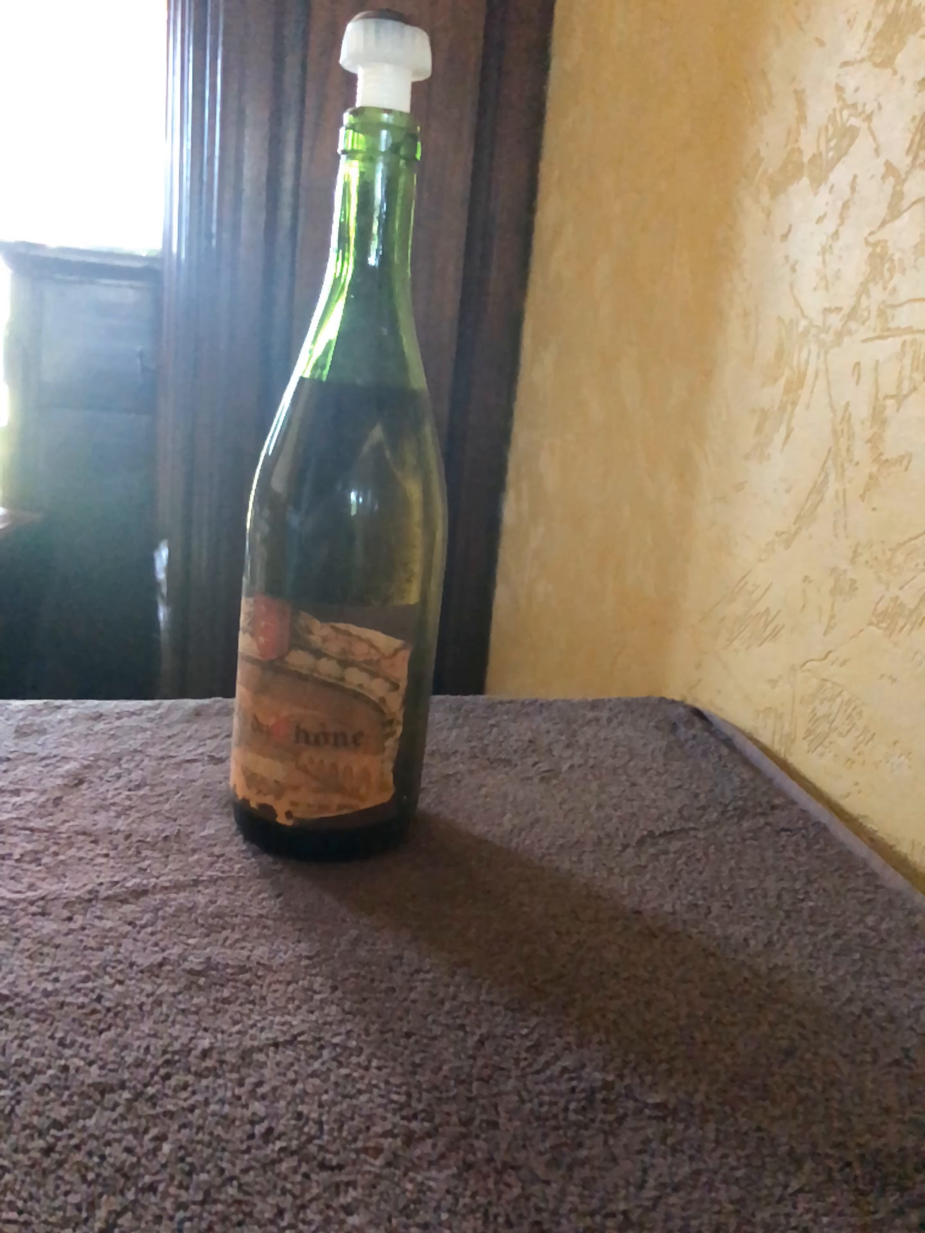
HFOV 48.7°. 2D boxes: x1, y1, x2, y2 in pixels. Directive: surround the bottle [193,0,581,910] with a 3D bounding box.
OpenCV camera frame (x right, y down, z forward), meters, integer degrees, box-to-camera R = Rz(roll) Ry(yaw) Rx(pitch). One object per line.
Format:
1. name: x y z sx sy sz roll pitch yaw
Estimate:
1. bottle: -0.036 -0.058 0.398 0.090 0.309 0.090 5 14 -1
